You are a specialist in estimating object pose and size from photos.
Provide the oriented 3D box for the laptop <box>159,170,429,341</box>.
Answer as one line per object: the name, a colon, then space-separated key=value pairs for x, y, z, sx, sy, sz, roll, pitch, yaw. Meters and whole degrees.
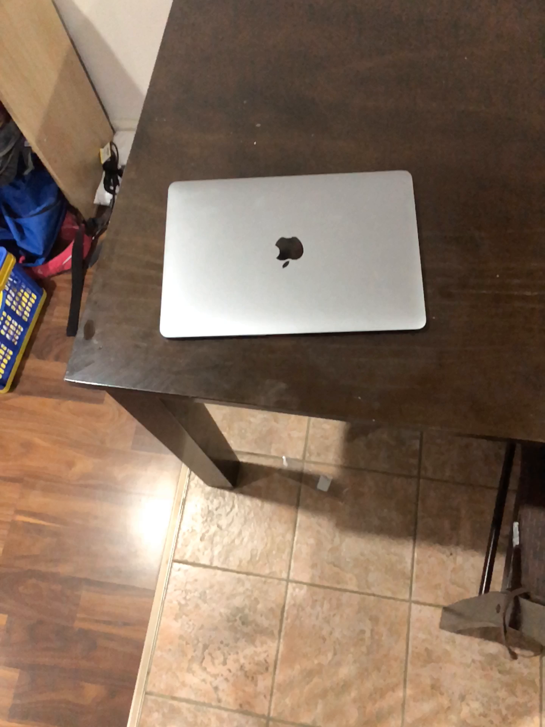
laptop: x=0.020 y=-0.121 z=0.648 sx=0.275 sy=0.002 sz=0.196 roll=-2 pitch=69 yaw=2
